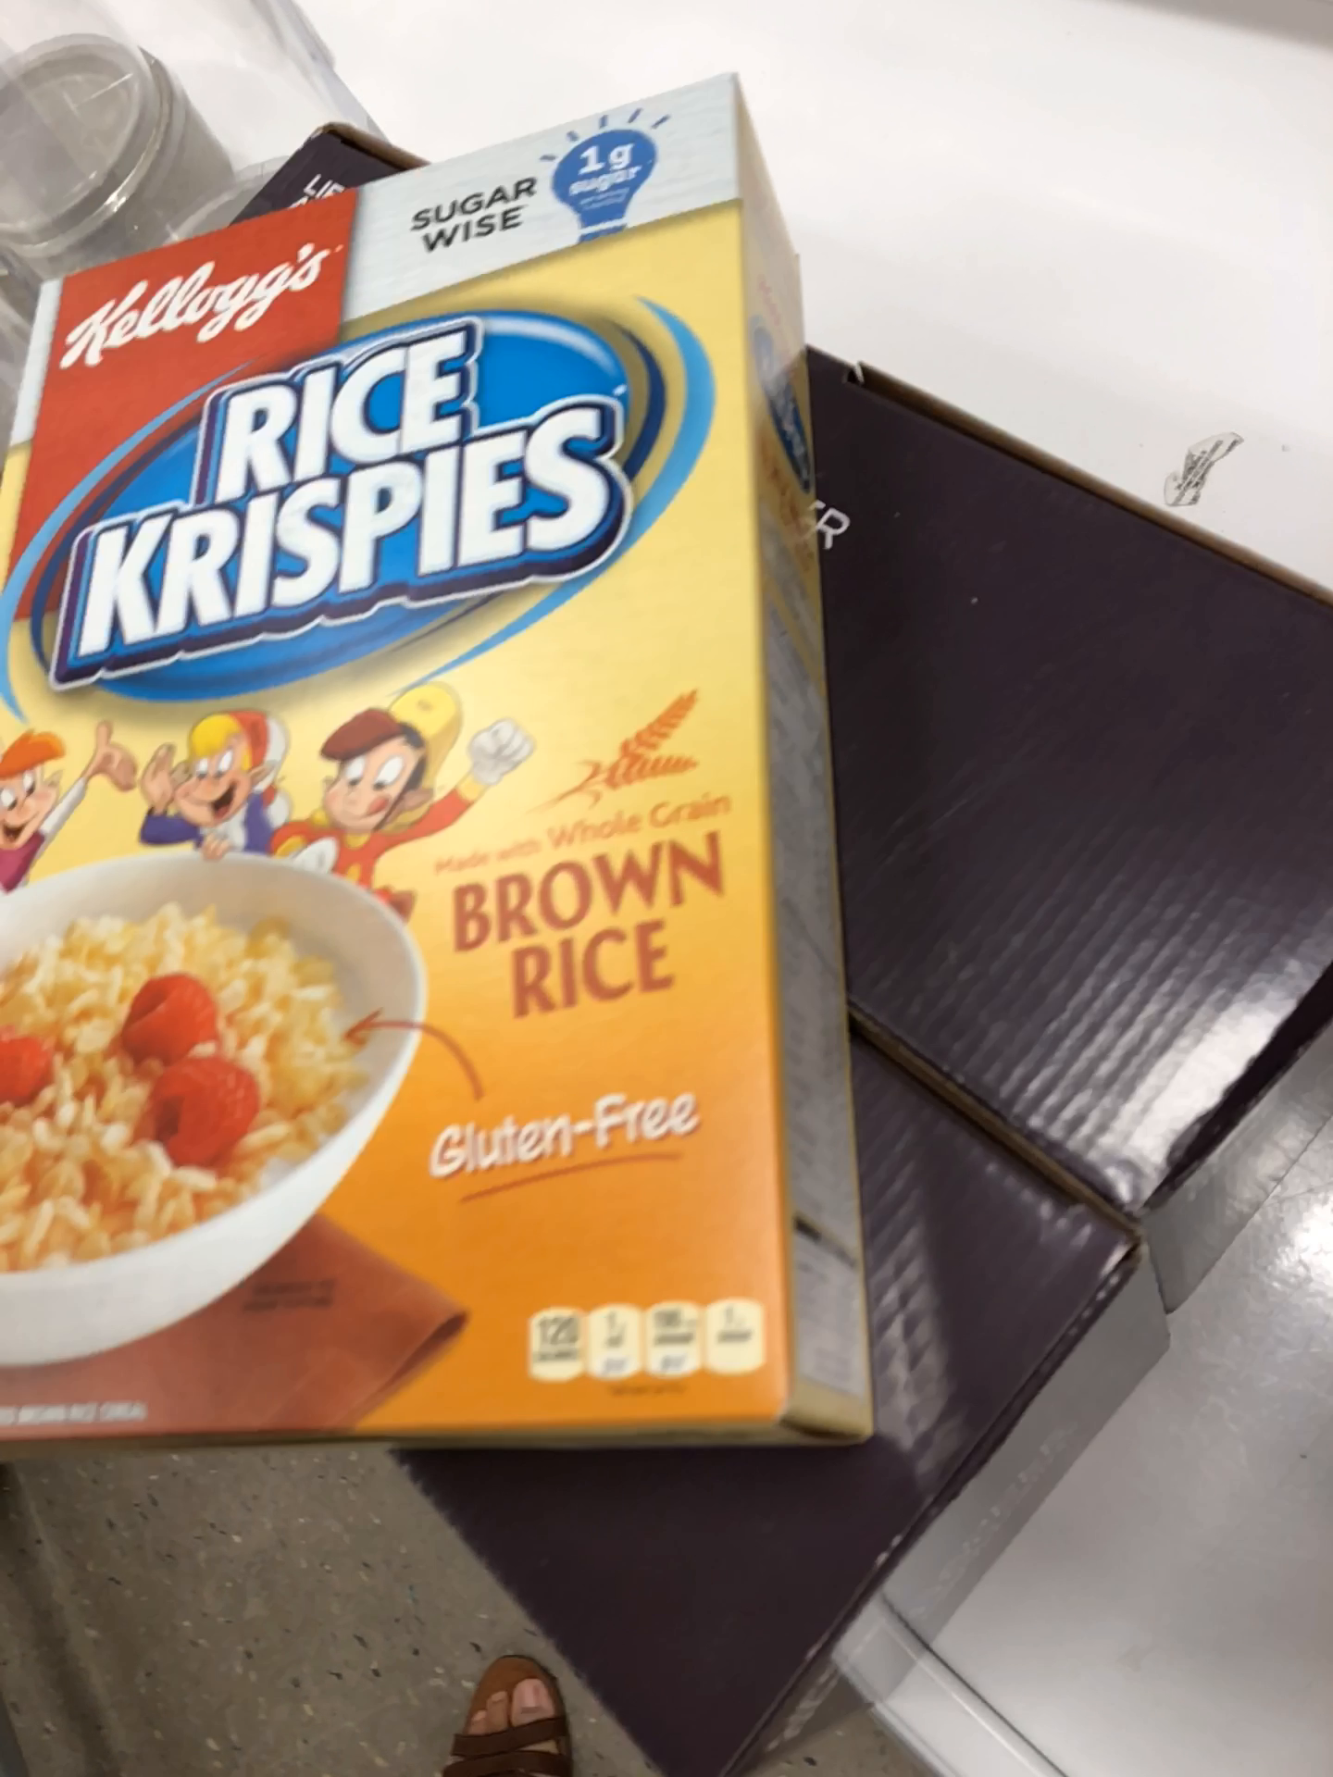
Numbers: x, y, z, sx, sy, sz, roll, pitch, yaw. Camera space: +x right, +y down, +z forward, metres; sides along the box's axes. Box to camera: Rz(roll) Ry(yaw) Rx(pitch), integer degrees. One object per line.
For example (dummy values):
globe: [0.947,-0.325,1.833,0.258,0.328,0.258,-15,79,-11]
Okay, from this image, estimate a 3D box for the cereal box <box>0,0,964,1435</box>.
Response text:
cereal box: [-0.065,-0.054,0.357,0.220,0.070,0.330,-10,63,13]
